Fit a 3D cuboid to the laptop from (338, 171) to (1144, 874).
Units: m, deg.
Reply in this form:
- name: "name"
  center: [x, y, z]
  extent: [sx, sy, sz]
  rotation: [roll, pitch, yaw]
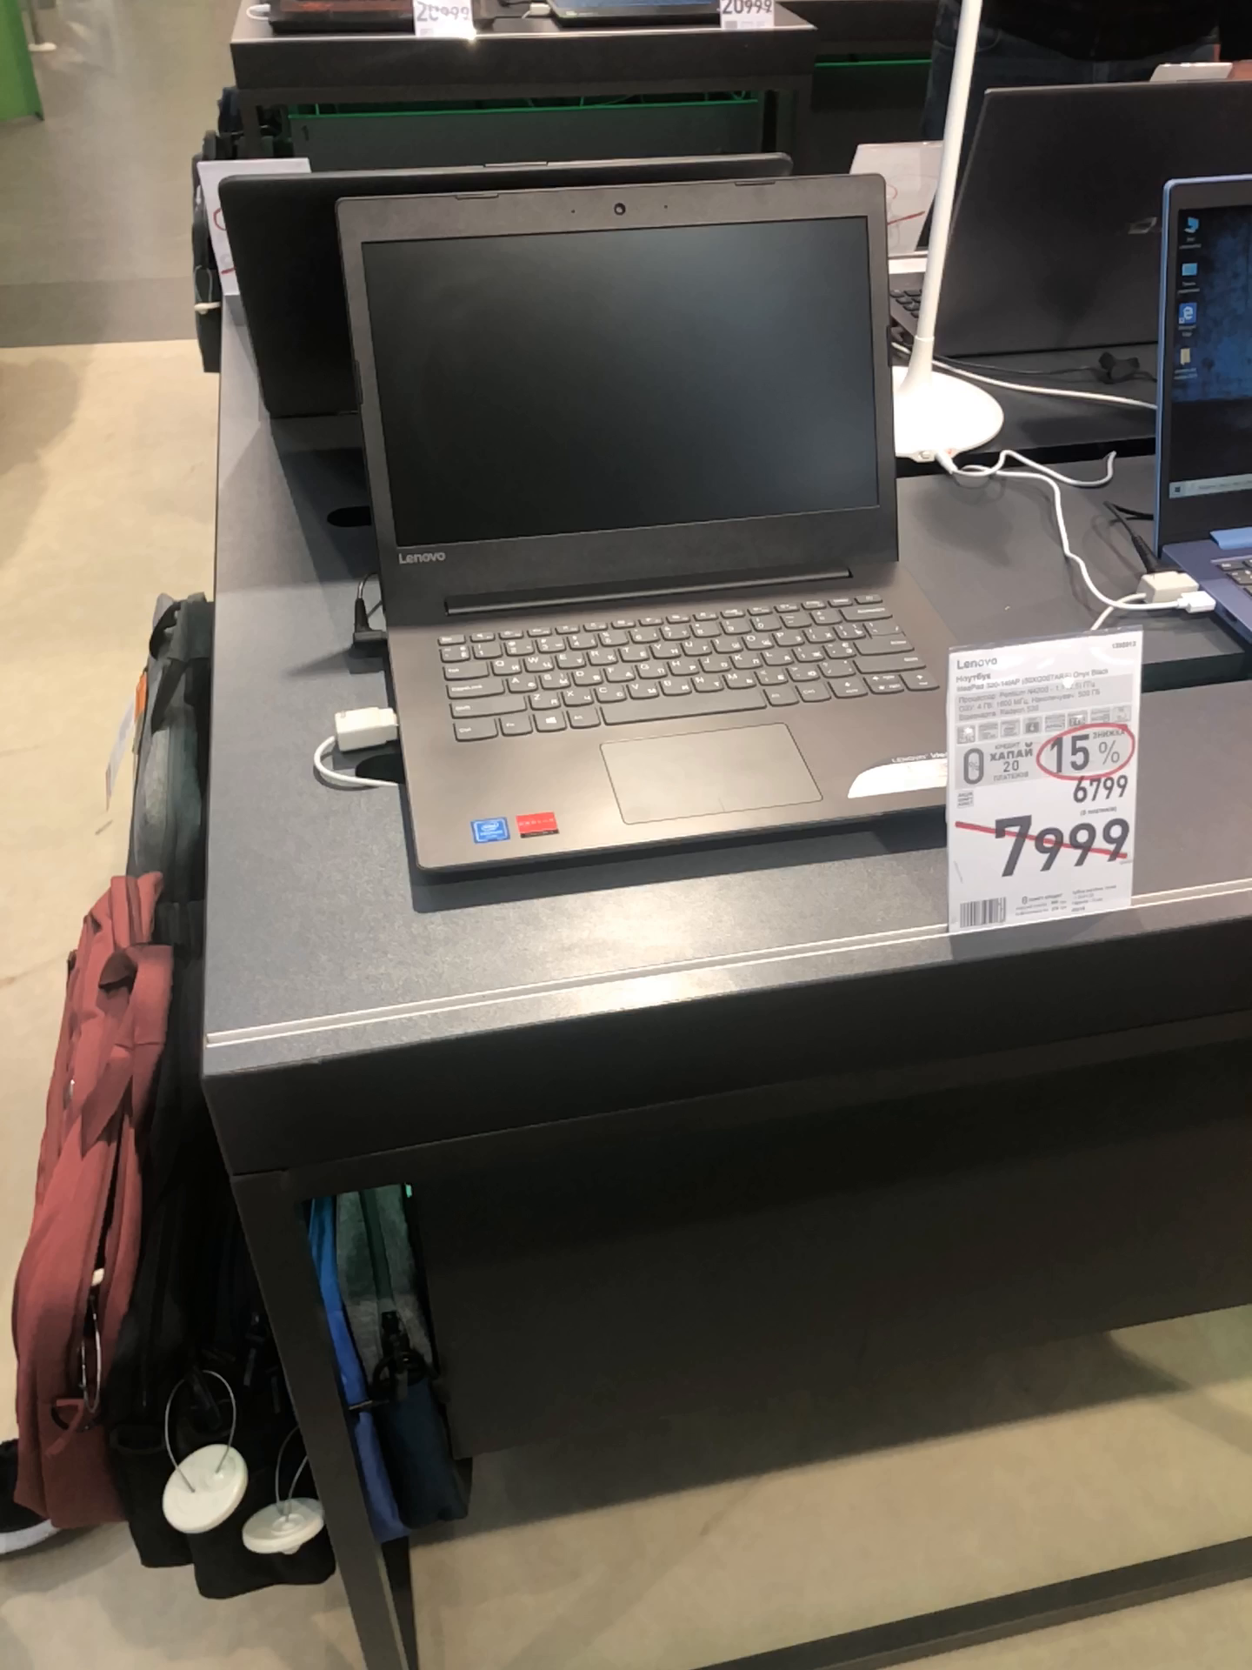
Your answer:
- name: "laptop"
  center: [0.027, -0.199, 0.769]
  extent: [0.330, 0.205, 0.363]
  rotation: [-7, 42, -9]
